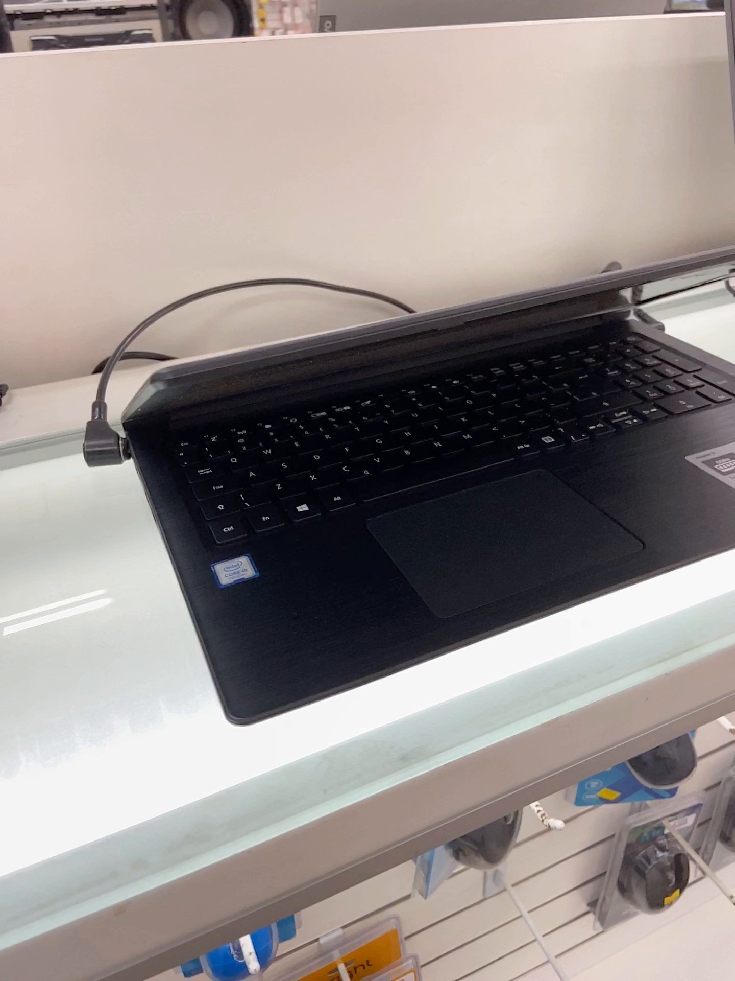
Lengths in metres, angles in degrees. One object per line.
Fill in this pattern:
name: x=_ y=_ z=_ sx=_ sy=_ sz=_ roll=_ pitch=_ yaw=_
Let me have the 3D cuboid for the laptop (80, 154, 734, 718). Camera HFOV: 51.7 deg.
laptop: x=0.074 y=-0.075 z=0.394 sx=0.381 sy=0.118 sz=0.237 roll=-16 pitch=34 yaw=-19
